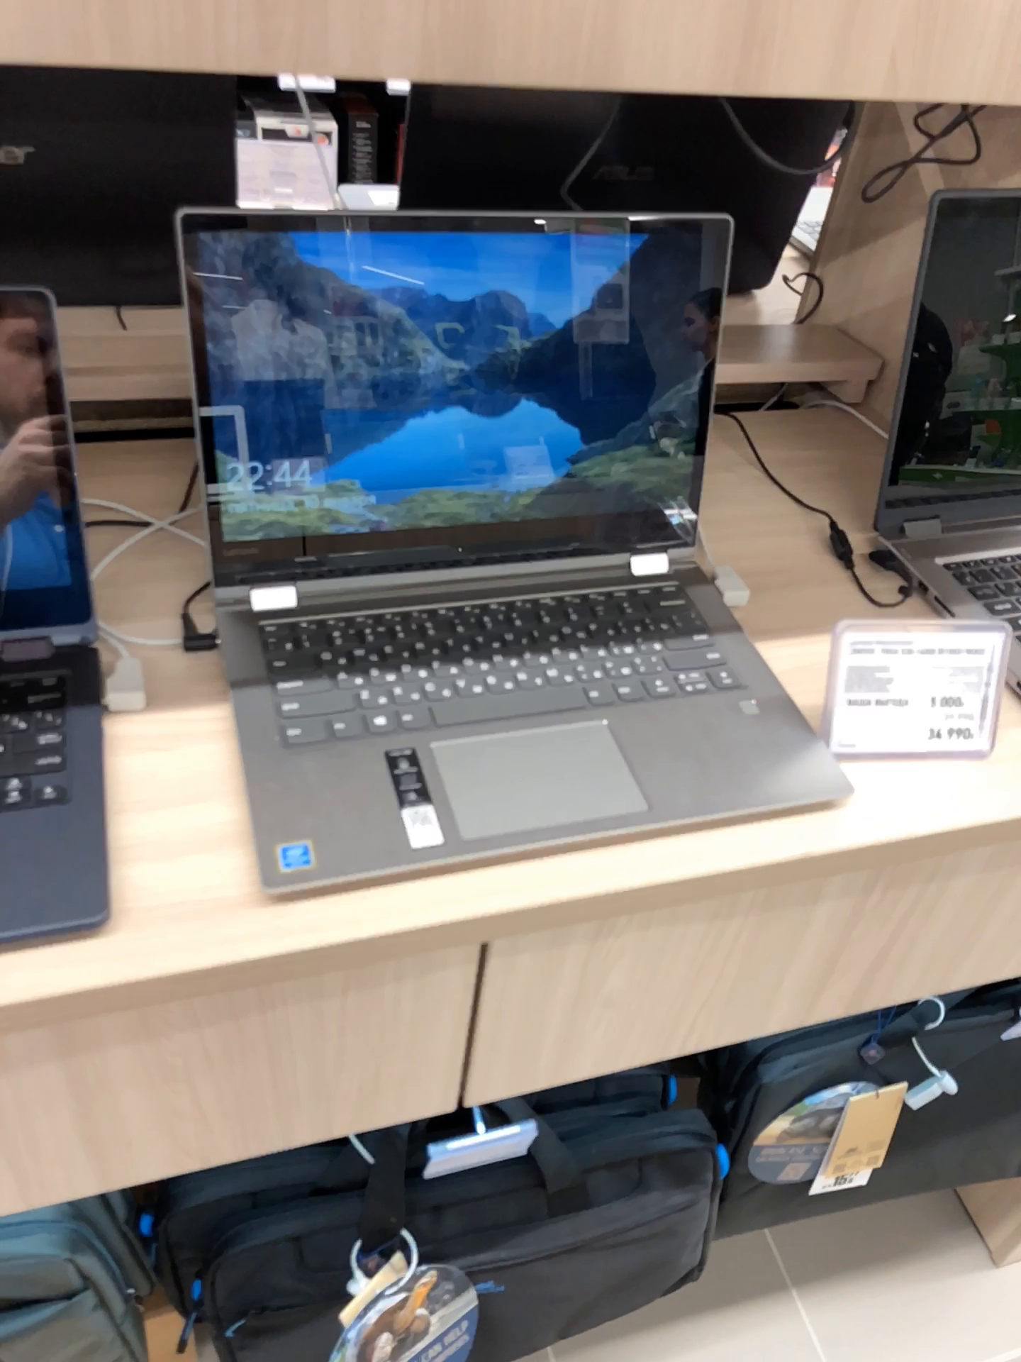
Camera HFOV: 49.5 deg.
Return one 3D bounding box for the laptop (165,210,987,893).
[{"bbox_3d":[0.001,-0.090,0.596,0.311,0.205,0.288,-7,42,-20],"label":"laptop"}]
